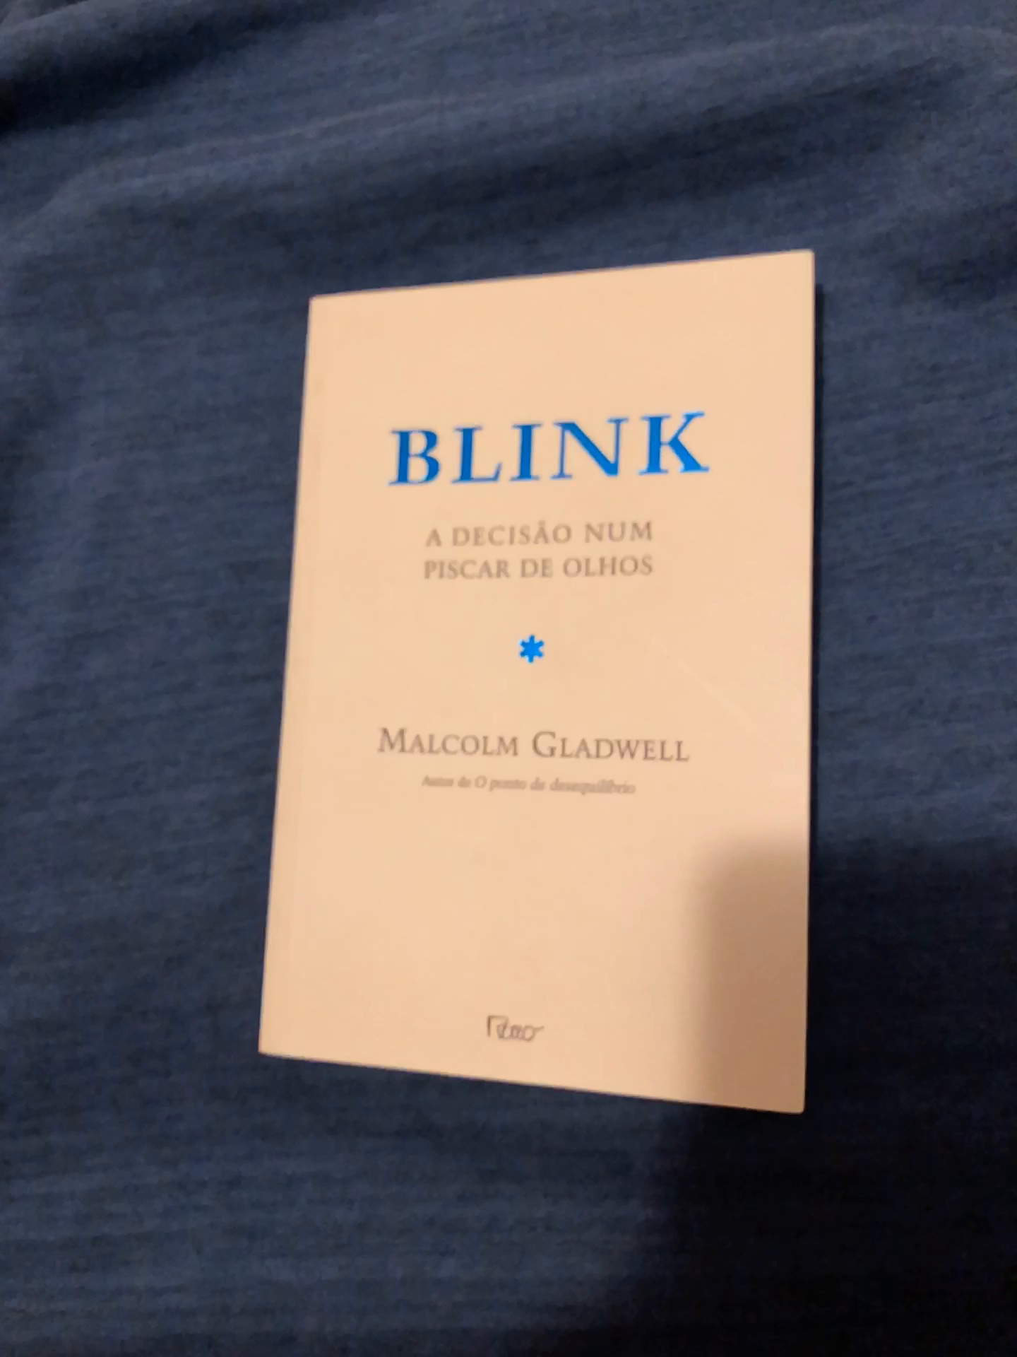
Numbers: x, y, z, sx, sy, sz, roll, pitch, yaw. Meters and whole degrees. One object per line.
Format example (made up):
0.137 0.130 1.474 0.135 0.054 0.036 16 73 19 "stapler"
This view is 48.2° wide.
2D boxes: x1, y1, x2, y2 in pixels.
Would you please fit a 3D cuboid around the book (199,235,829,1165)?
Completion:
0.005 -0.001 0.299 0.150 0.030 0.220 1 79 15 "book"
